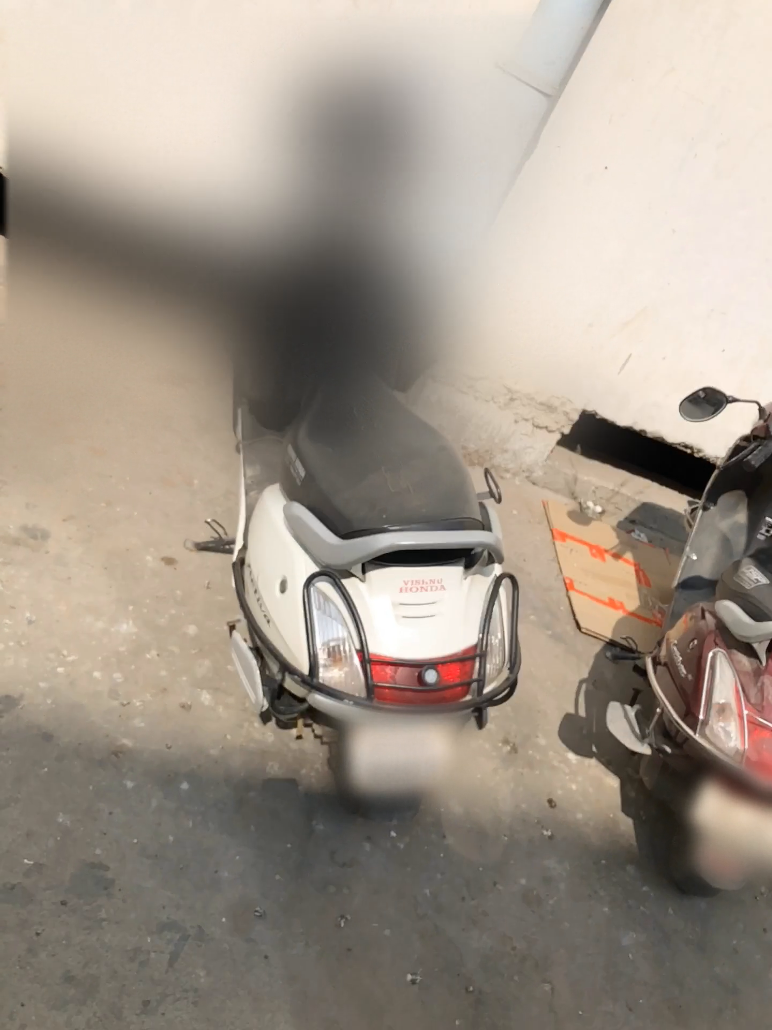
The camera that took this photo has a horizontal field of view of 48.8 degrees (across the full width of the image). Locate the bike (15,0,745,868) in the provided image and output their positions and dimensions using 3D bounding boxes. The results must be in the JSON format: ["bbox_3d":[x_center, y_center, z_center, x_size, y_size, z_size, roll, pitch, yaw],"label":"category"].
[{"bbox_3d":[-0.231,-0.218,1.755,0.626,1.122,1.303,5,42,-34],"label":"bike"}]
